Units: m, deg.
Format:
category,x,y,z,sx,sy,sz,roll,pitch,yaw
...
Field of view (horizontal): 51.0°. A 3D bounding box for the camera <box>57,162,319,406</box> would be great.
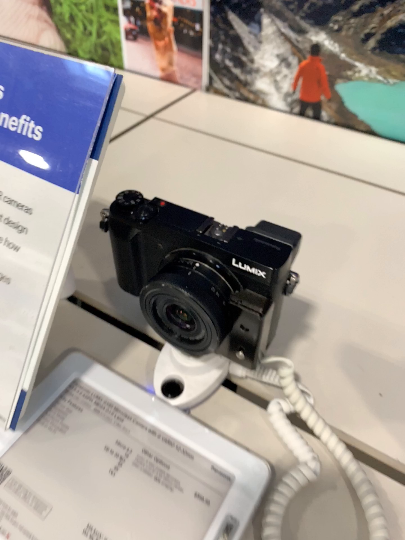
category,x,y,z,sx,sy,sz,roll,pitch,yaw
camera,-0.008,0.004,0.252,0.120,0.080,0.070,24,49,21
